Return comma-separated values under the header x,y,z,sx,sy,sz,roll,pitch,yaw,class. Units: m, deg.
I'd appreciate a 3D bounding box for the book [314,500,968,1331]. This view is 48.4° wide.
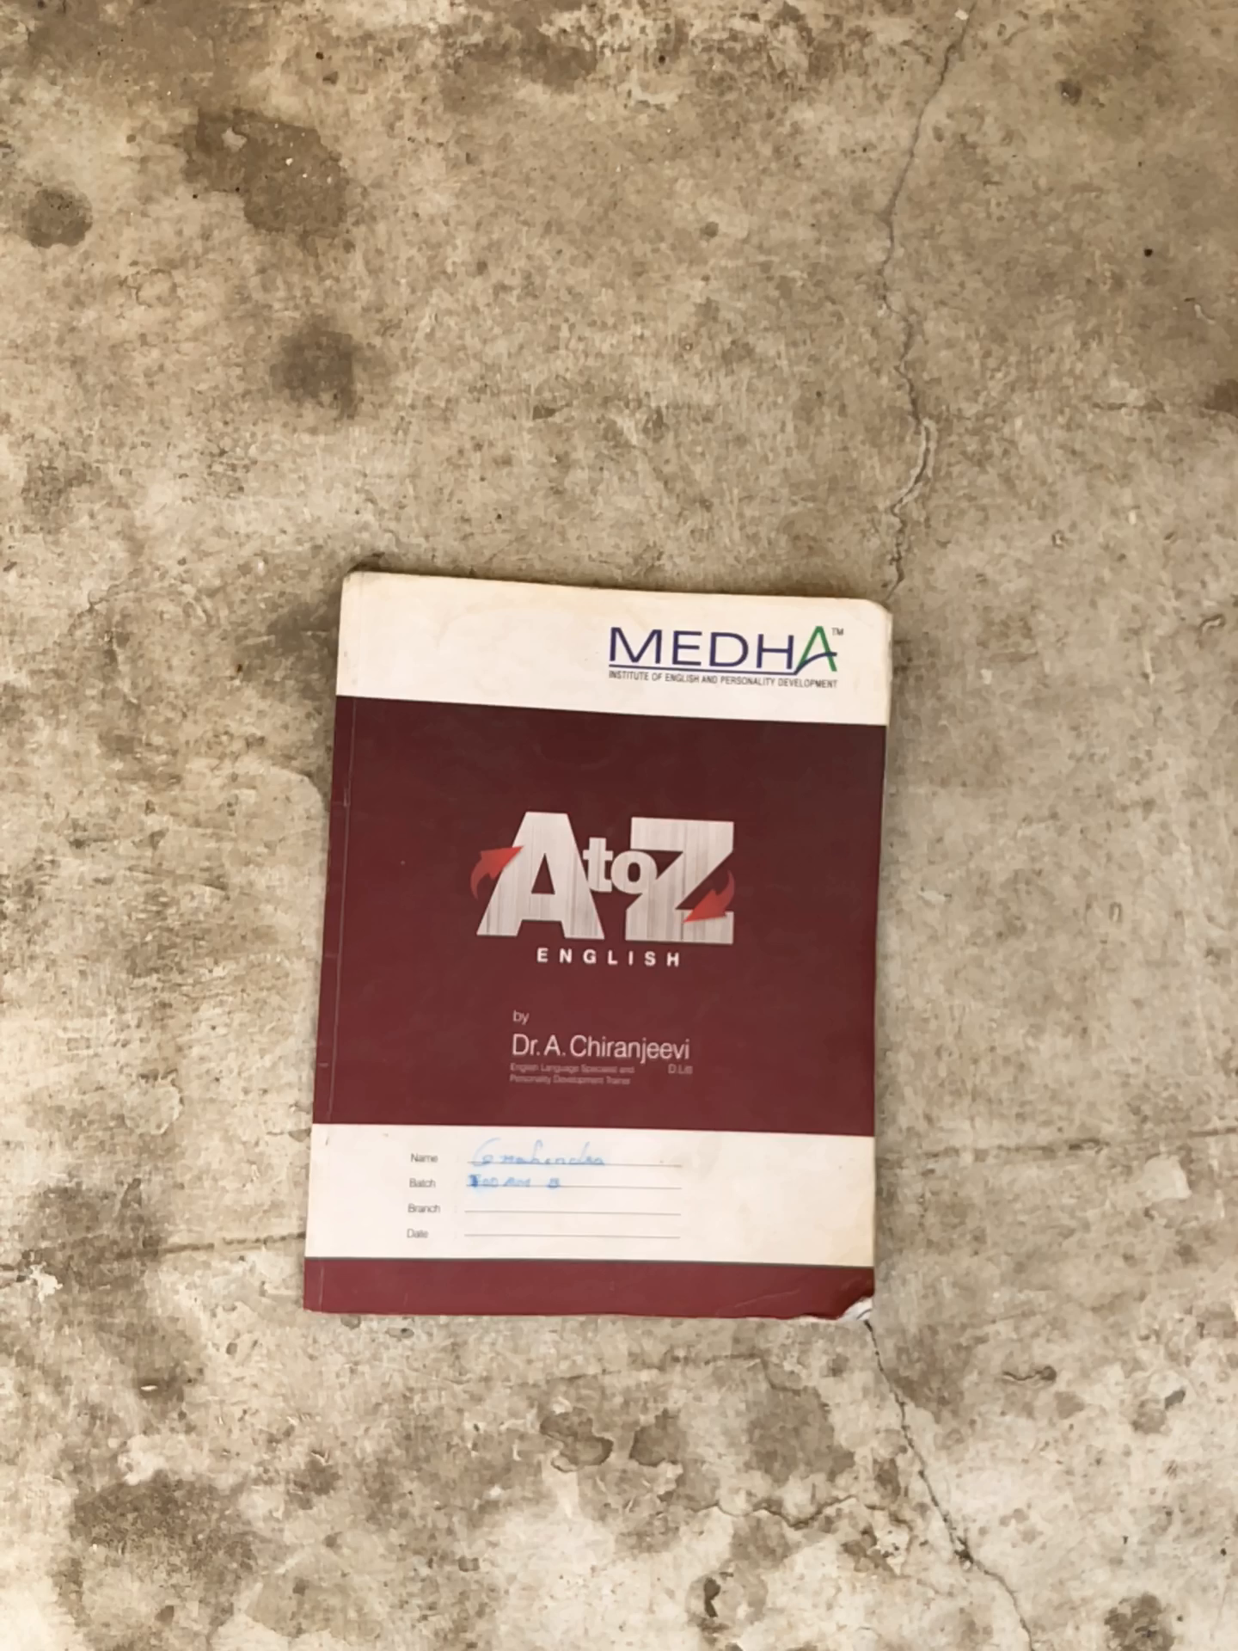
x,y,z,sx,sy,sz,roll,pitch,yaw,class
0.012,0.032,0.492,0.220,0.030,0.280,2,85,-6,book
